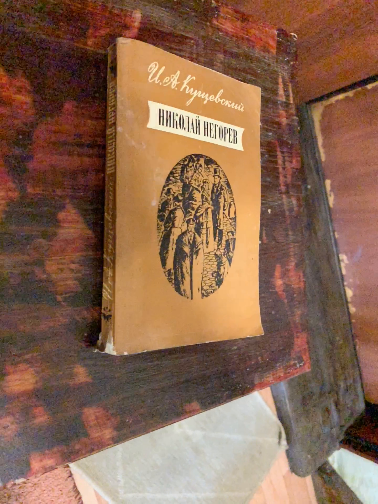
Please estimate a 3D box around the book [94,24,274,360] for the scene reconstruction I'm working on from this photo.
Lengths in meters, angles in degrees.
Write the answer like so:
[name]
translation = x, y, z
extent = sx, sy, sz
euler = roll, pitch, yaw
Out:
[book]
translation = 0.003, -0.034, 0.268
extent = 0.131, 0.024, 0.190
euler = 0, 90, -35
